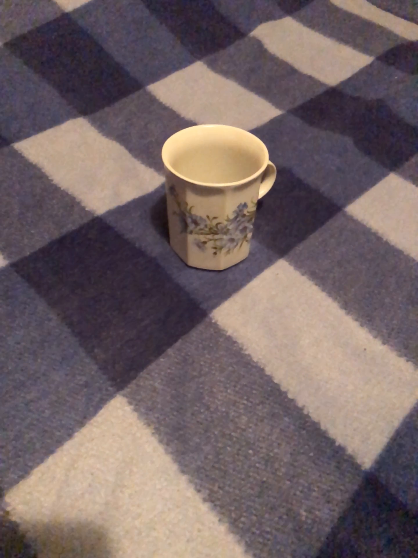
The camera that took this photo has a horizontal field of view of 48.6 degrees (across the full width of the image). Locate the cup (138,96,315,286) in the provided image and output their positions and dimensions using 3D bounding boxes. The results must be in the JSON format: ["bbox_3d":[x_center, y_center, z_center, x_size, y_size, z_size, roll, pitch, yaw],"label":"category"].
[{"bbox_3d":[0.010,-0.069,0.362,0.098,0.094,0.077,-24,57,-20],"label":"cup"}]
